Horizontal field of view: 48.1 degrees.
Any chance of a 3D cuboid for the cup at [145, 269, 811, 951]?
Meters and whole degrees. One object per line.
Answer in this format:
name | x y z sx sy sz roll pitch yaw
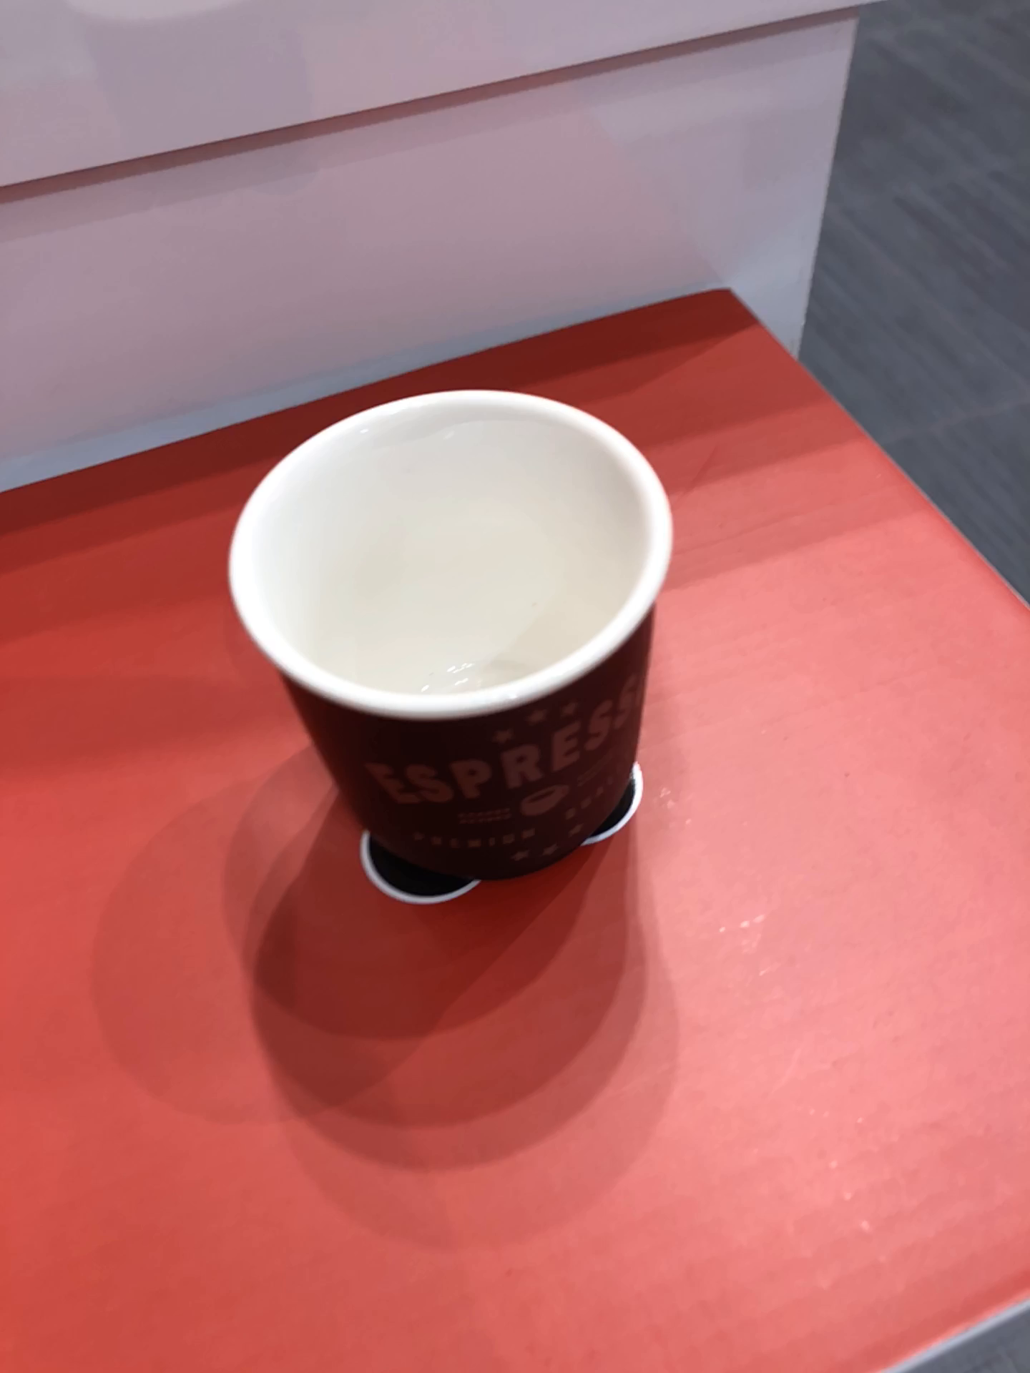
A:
cup | -0.005 -0.013 0.182 0.070 0.060 0.060 -30 57 -19
